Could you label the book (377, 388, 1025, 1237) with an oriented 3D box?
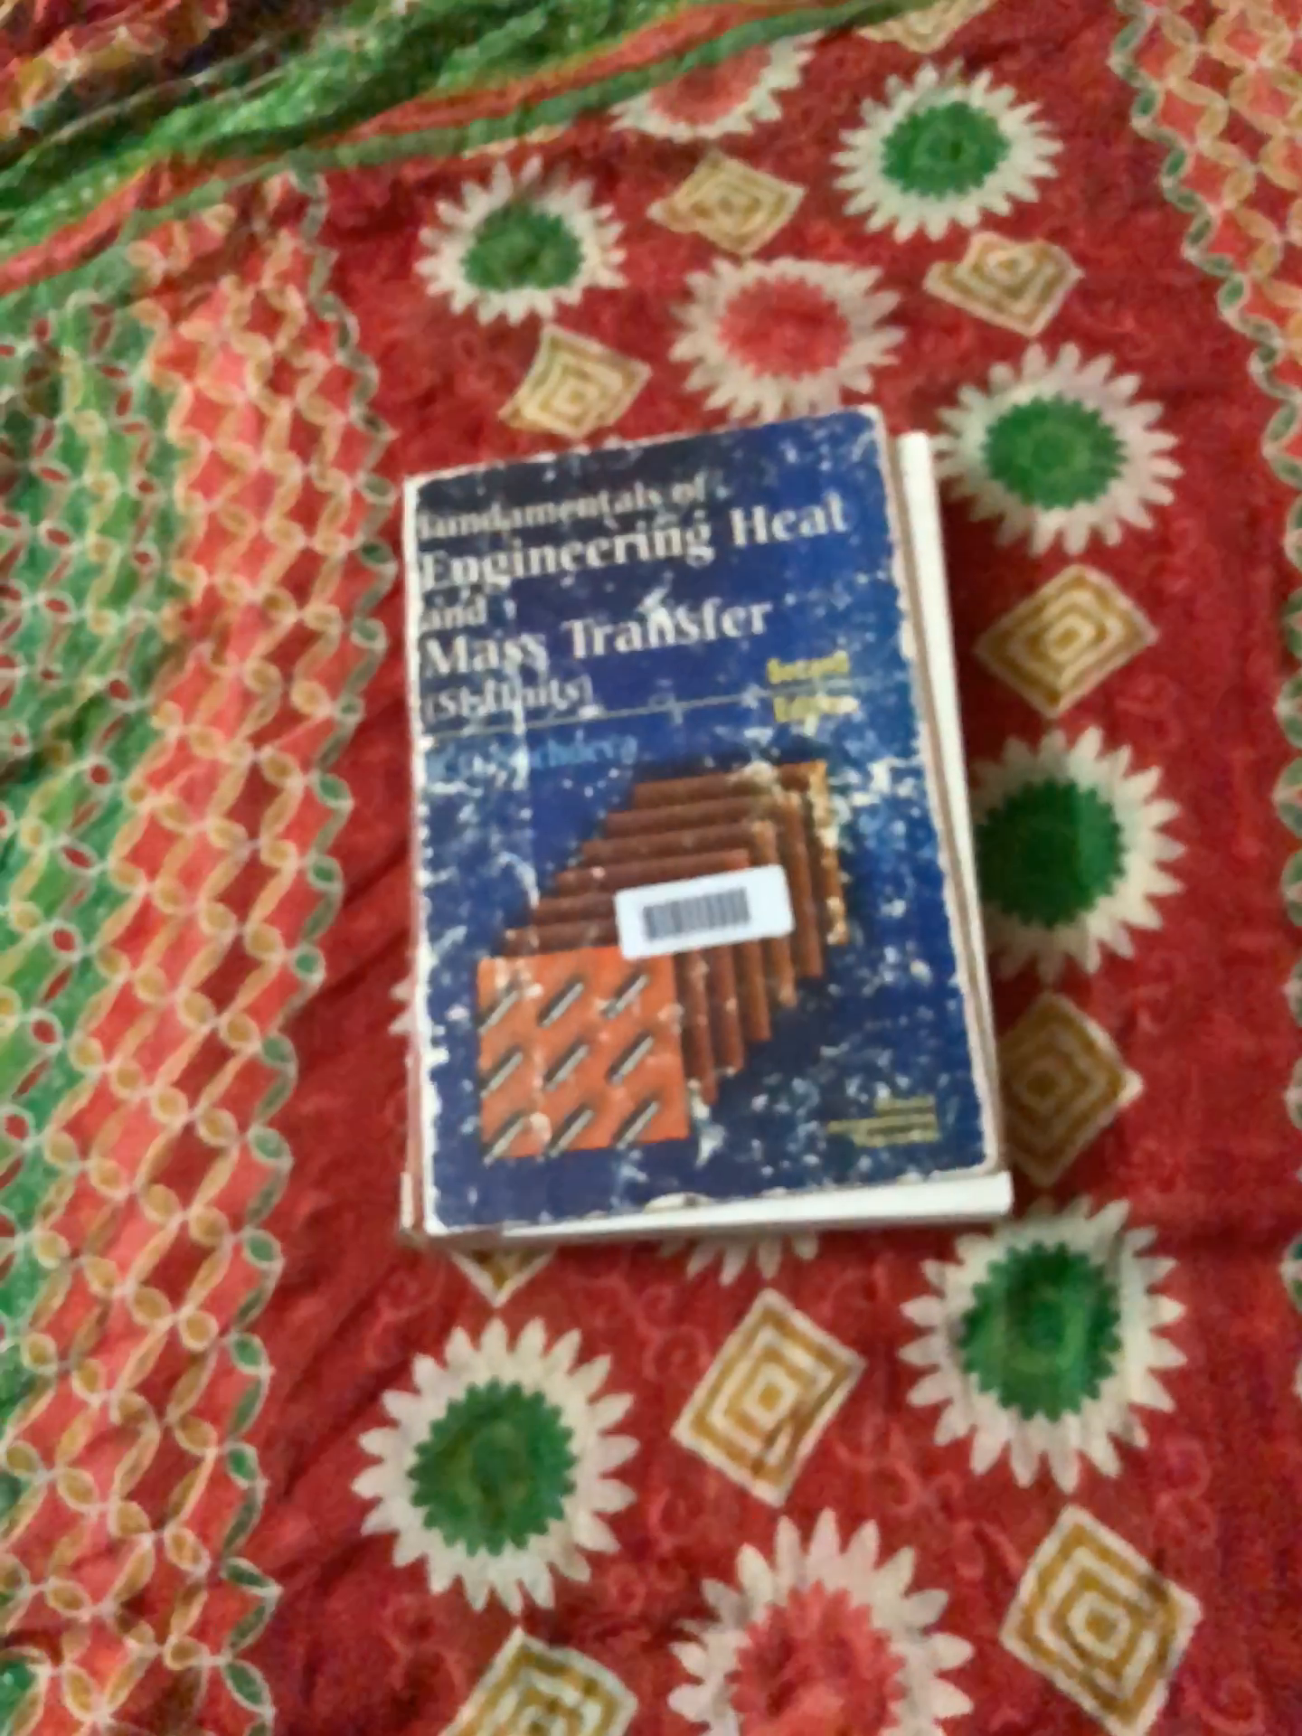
[{"bbox_3d":[0.007,-0.015,0.394,0.150,0.043,0.209,-7,72,8],"label":"book"}]
